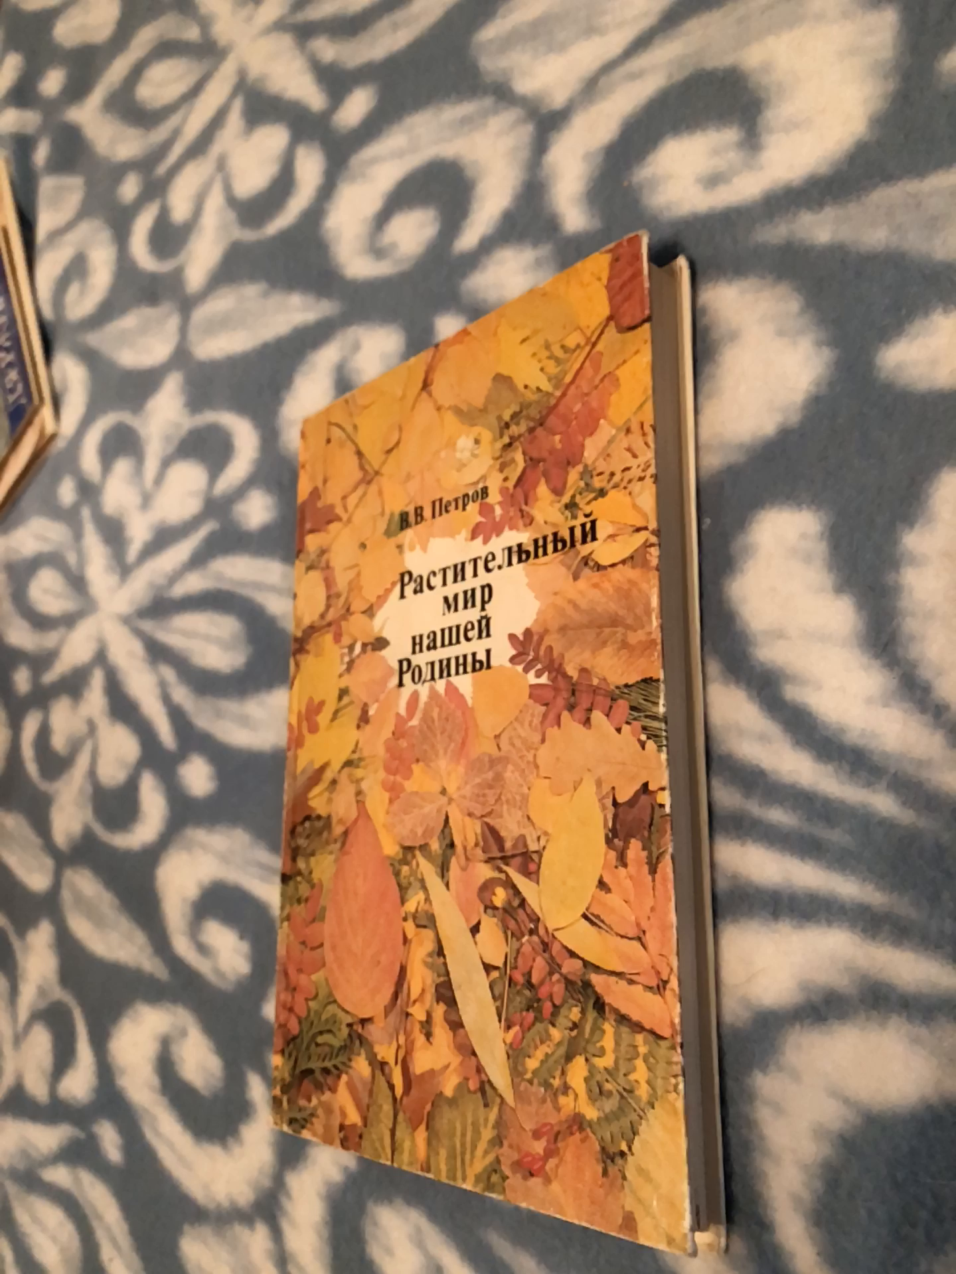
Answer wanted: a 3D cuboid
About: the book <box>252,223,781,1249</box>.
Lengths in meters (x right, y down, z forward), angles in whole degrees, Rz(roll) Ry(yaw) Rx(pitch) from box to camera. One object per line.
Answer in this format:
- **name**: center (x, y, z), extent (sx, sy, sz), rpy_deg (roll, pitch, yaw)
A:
- **book**: center (-0.003, 0.023, 0.277), extent (0.157, 0.020, 0.208), rpy_deg (-13, 72, 45)
